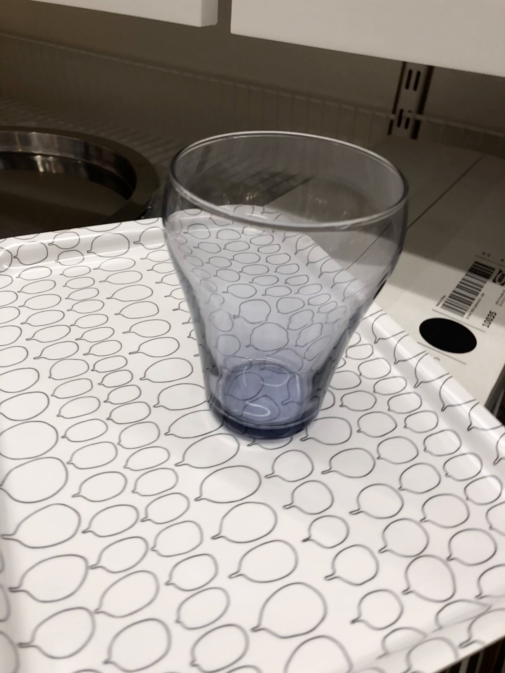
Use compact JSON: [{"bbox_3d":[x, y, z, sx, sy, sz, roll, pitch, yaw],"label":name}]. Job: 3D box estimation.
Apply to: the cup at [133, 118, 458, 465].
[{"bbox_3d":[0.010,-0.020,0.198,0.080,0.080,0.090,6,35,0],"label":"cup"}]
